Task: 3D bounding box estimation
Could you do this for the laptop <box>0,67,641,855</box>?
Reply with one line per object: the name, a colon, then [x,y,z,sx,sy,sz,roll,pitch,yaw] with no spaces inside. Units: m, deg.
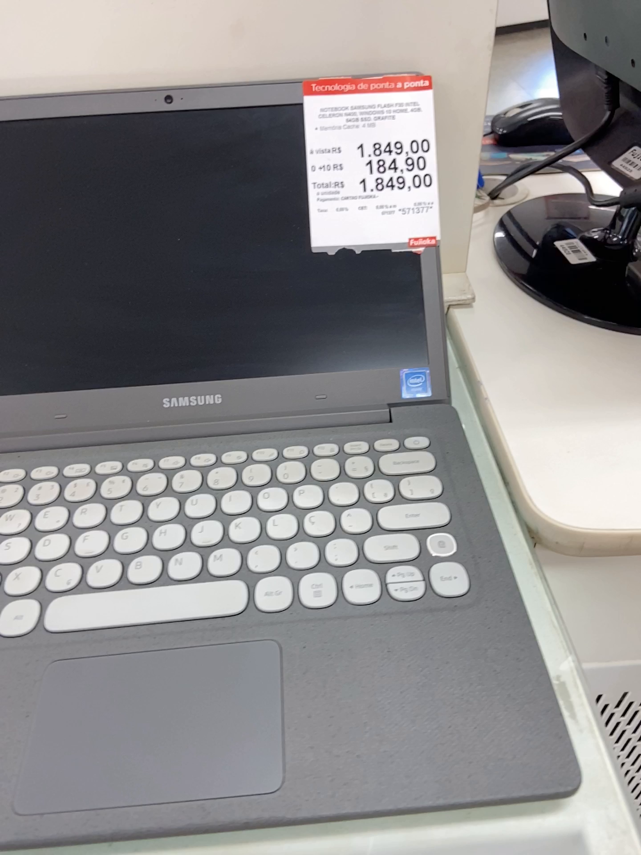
laptop: [-0.080,-0.035,0.324,0.319,0.144,0.366,-4,43,-1]
